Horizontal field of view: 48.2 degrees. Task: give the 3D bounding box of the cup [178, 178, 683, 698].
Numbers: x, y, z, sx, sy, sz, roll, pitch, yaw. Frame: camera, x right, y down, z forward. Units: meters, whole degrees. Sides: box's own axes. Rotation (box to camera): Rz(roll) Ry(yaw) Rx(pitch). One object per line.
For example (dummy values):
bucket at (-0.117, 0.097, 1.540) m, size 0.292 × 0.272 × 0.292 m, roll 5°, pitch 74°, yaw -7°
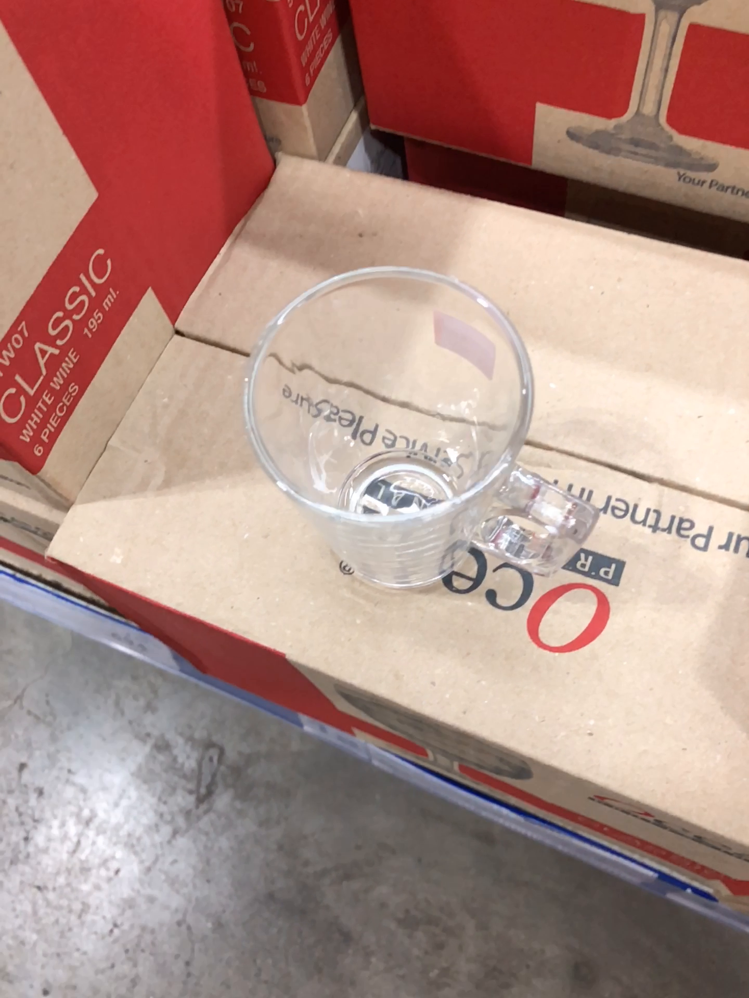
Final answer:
cup at (0.015, -0.006, 0.197) m, size 0.070 × 0.100 × 0.060 m, roll 28°, pitch 74°, yaw 17°
